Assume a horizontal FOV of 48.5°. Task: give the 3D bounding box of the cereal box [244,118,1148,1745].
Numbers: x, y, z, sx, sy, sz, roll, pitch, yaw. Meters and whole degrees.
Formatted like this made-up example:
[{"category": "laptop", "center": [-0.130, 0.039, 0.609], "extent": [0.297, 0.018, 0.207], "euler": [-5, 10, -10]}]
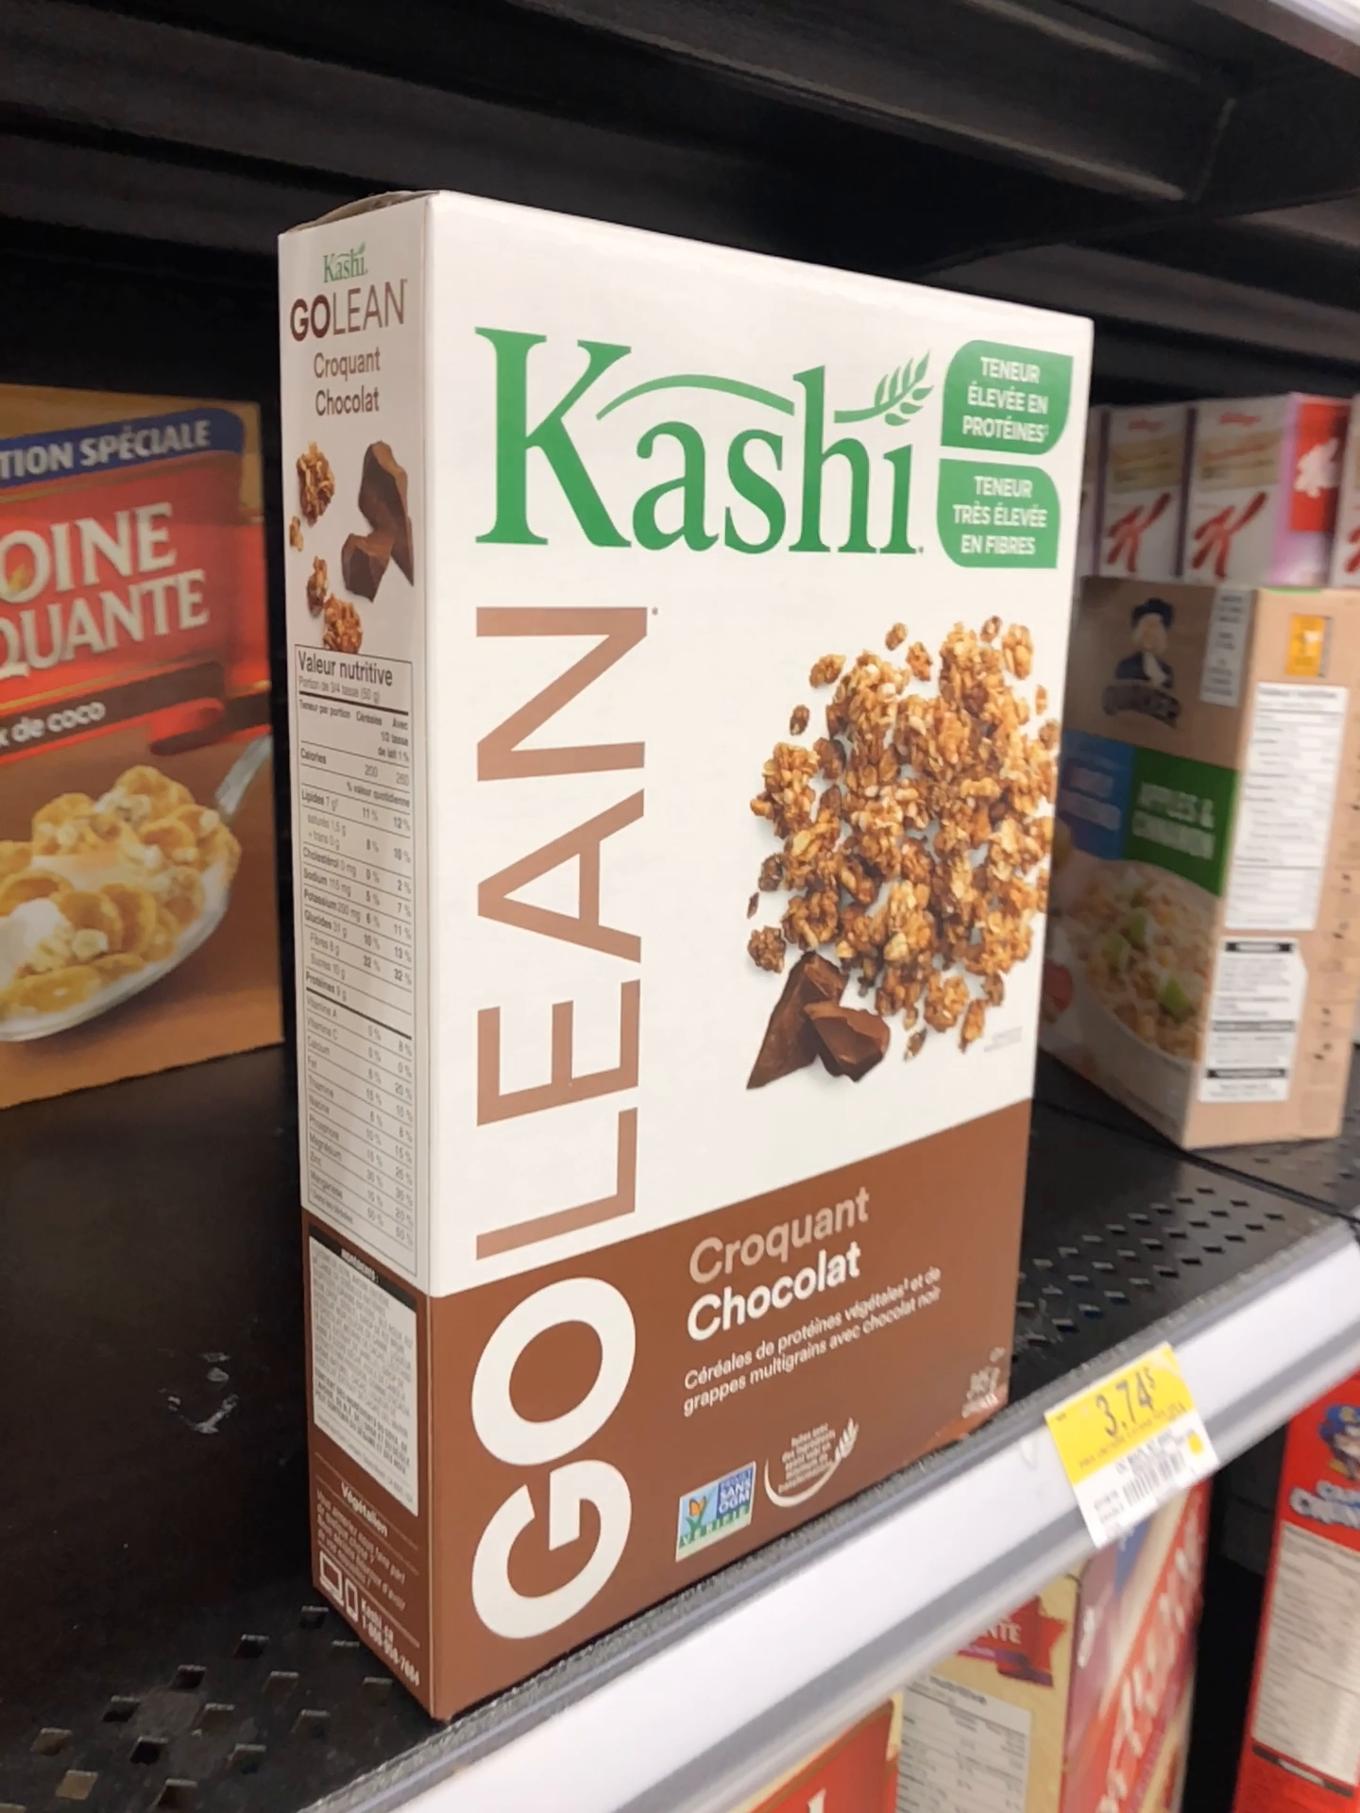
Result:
[{"category": "cereal box", "center": [0.009, 0.002, 0.297], "extent": [0.170, 0.249, 0.050], "euler": [-10, 18, -40]}]
